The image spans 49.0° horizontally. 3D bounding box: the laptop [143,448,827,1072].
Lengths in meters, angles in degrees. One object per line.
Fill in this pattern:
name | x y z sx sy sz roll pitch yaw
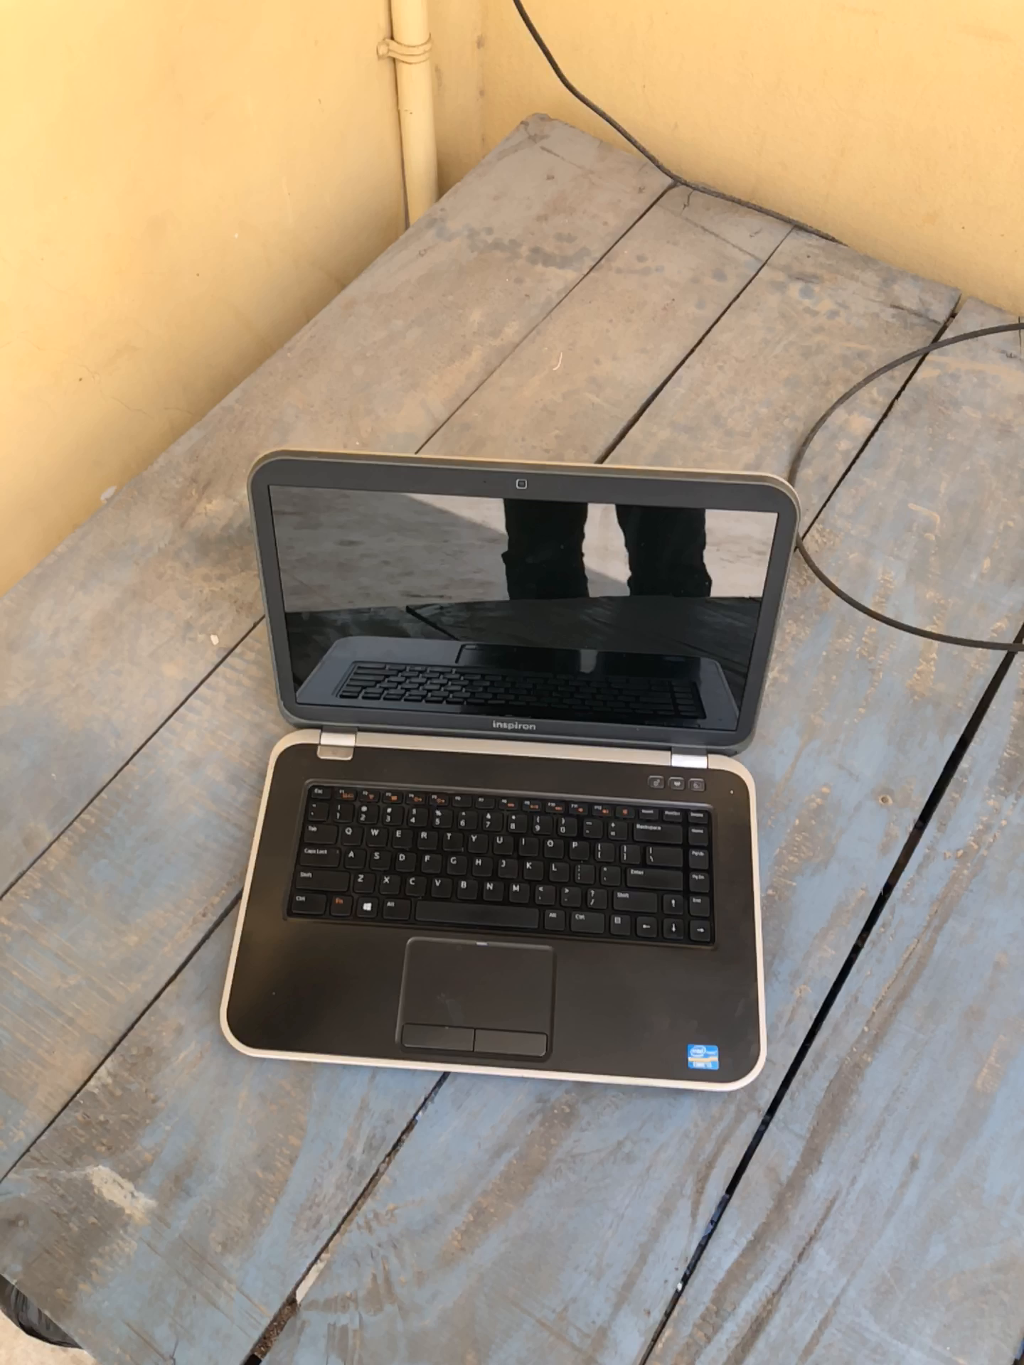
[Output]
laptop | -0.005 0.050 0.749 0.352 0.209 0.333 3 60 3
